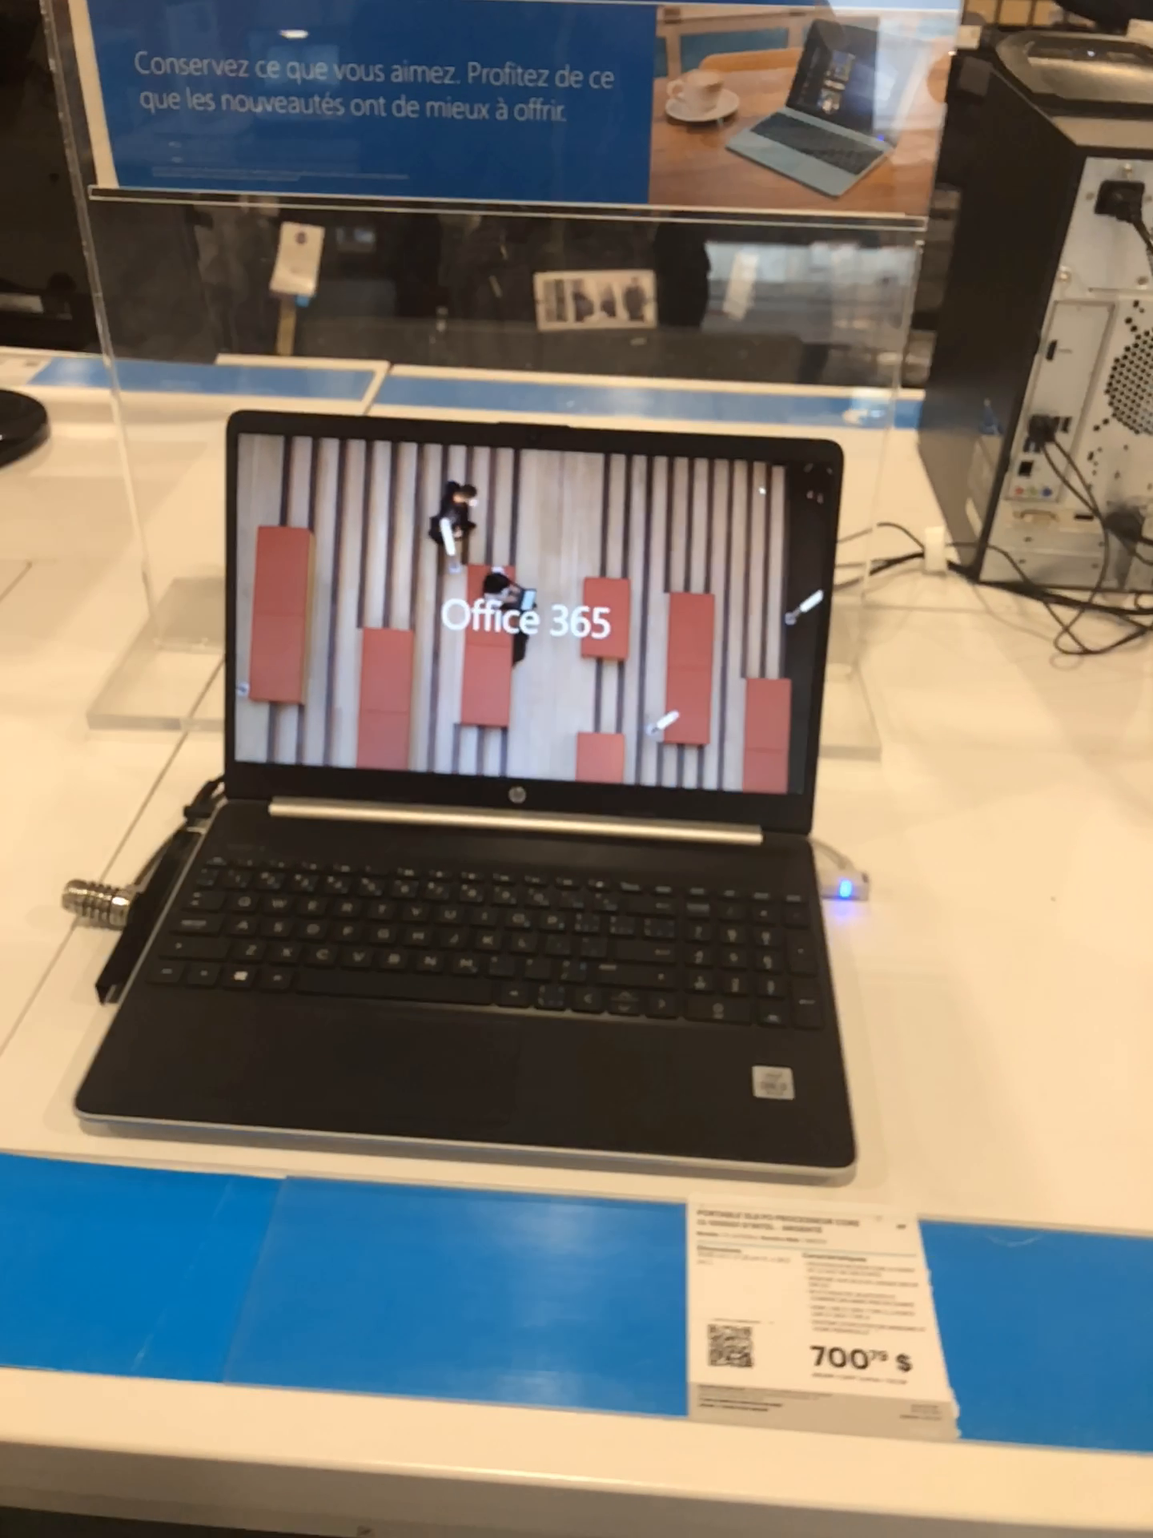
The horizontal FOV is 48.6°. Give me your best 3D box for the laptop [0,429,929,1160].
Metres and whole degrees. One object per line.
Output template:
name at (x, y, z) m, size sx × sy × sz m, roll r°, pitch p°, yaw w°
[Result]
laptop at (-0.036, -0.011, 0.654) m, size 0.346 × 0.196 × 0.335 m, roll 3°, pitch 35°, yaw 2°
